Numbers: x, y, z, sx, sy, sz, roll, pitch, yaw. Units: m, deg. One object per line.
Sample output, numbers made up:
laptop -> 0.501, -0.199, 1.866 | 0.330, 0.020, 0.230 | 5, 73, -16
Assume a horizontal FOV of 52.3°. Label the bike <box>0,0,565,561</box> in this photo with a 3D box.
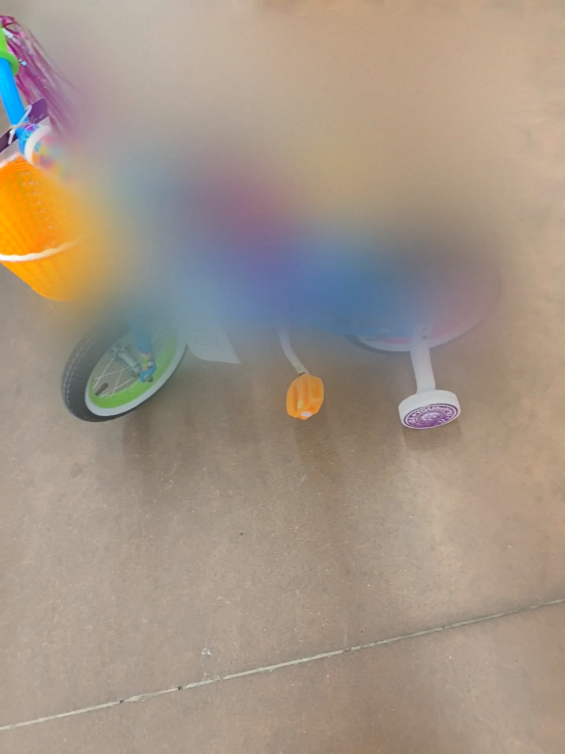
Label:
bike -> -0.058, -0.142, 0.927 | 0.833, 0.667, 0.522 | -14, 57, 9
